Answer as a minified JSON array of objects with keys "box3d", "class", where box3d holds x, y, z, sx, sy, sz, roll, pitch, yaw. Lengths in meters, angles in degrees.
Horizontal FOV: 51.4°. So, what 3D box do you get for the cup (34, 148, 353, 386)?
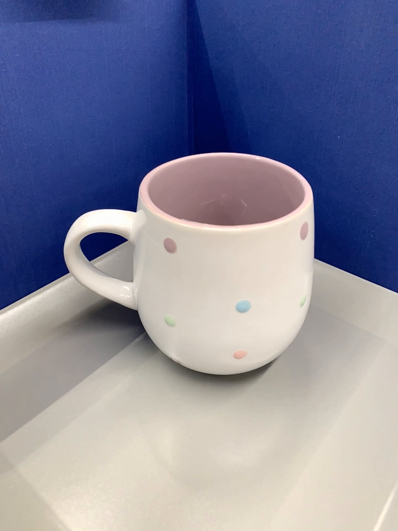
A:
[{"box3d":[0.000,-0.005,0.233,0.130,0.088,0.097,3,34,3],"class":"cup"}]
